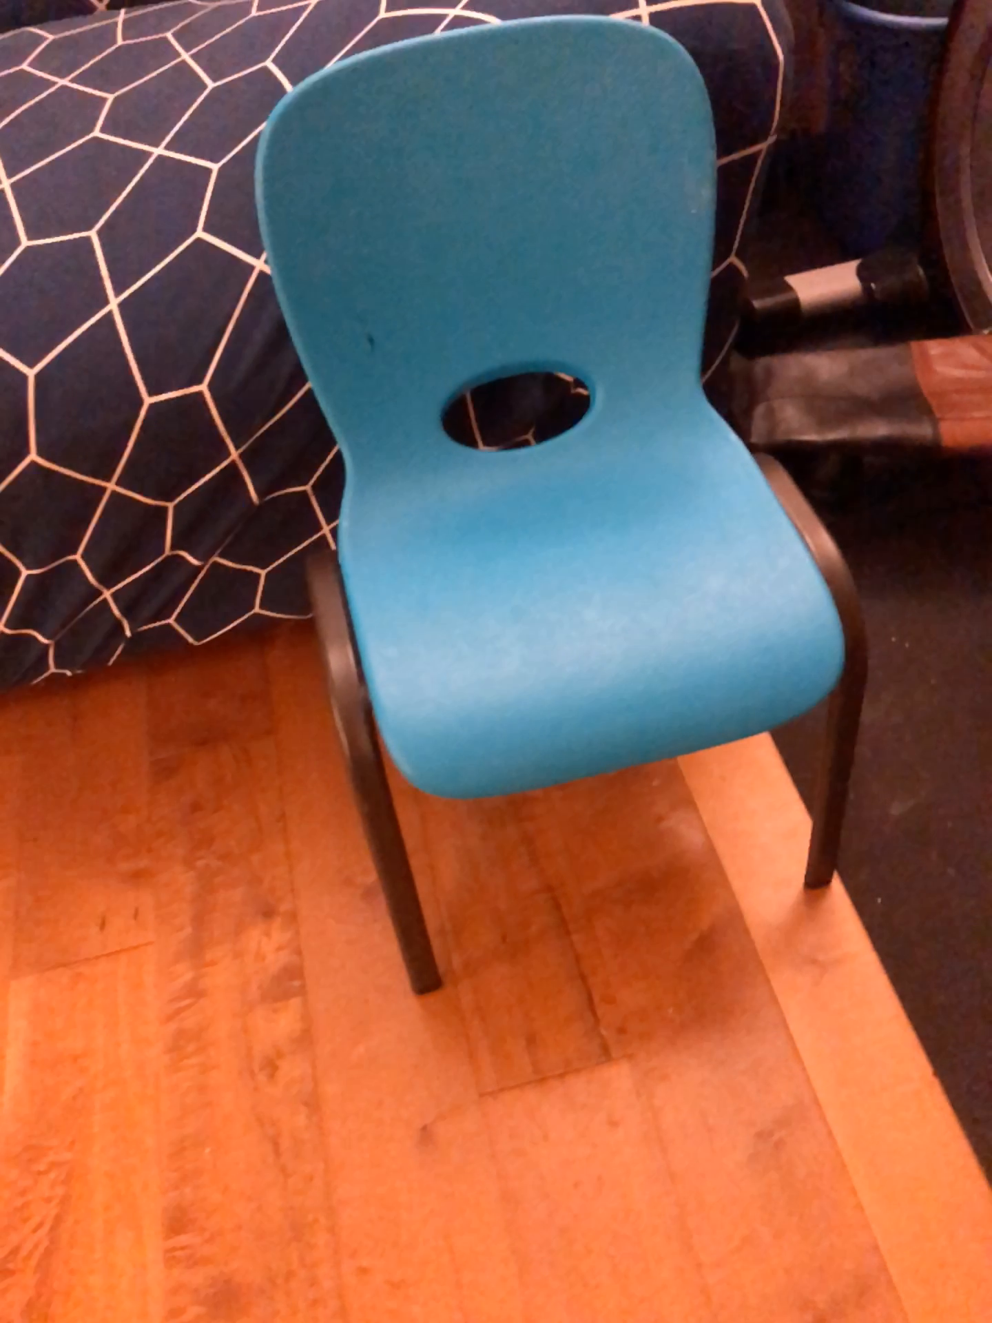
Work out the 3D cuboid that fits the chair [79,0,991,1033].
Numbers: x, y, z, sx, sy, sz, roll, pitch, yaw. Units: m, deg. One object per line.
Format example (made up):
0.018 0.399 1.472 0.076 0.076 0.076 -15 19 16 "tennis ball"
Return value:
0.029 -0.092 0.759 0.430 0.527 0.402 -15 51 -7 "chair"
